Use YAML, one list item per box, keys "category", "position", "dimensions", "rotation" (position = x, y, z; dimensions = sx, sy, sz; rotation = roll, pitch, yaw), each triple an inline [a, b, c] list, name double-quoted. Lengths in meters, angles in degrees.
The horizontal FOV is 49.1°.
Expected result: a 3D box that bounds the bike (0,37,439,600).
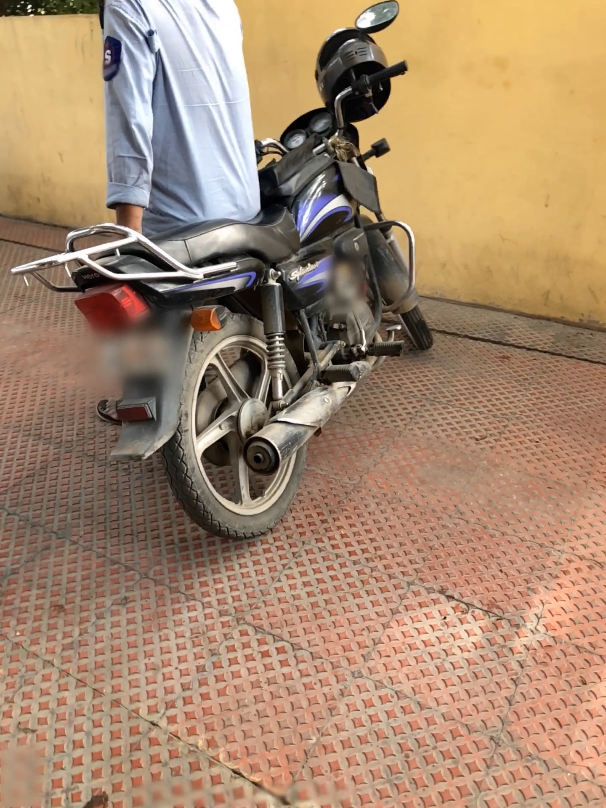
- category: "bike"
  position: [-0.181, -0.507, 2.071]
  dimensions: [0.920, 1.007, 1.685]
  rotation: [8, 33, 16]
